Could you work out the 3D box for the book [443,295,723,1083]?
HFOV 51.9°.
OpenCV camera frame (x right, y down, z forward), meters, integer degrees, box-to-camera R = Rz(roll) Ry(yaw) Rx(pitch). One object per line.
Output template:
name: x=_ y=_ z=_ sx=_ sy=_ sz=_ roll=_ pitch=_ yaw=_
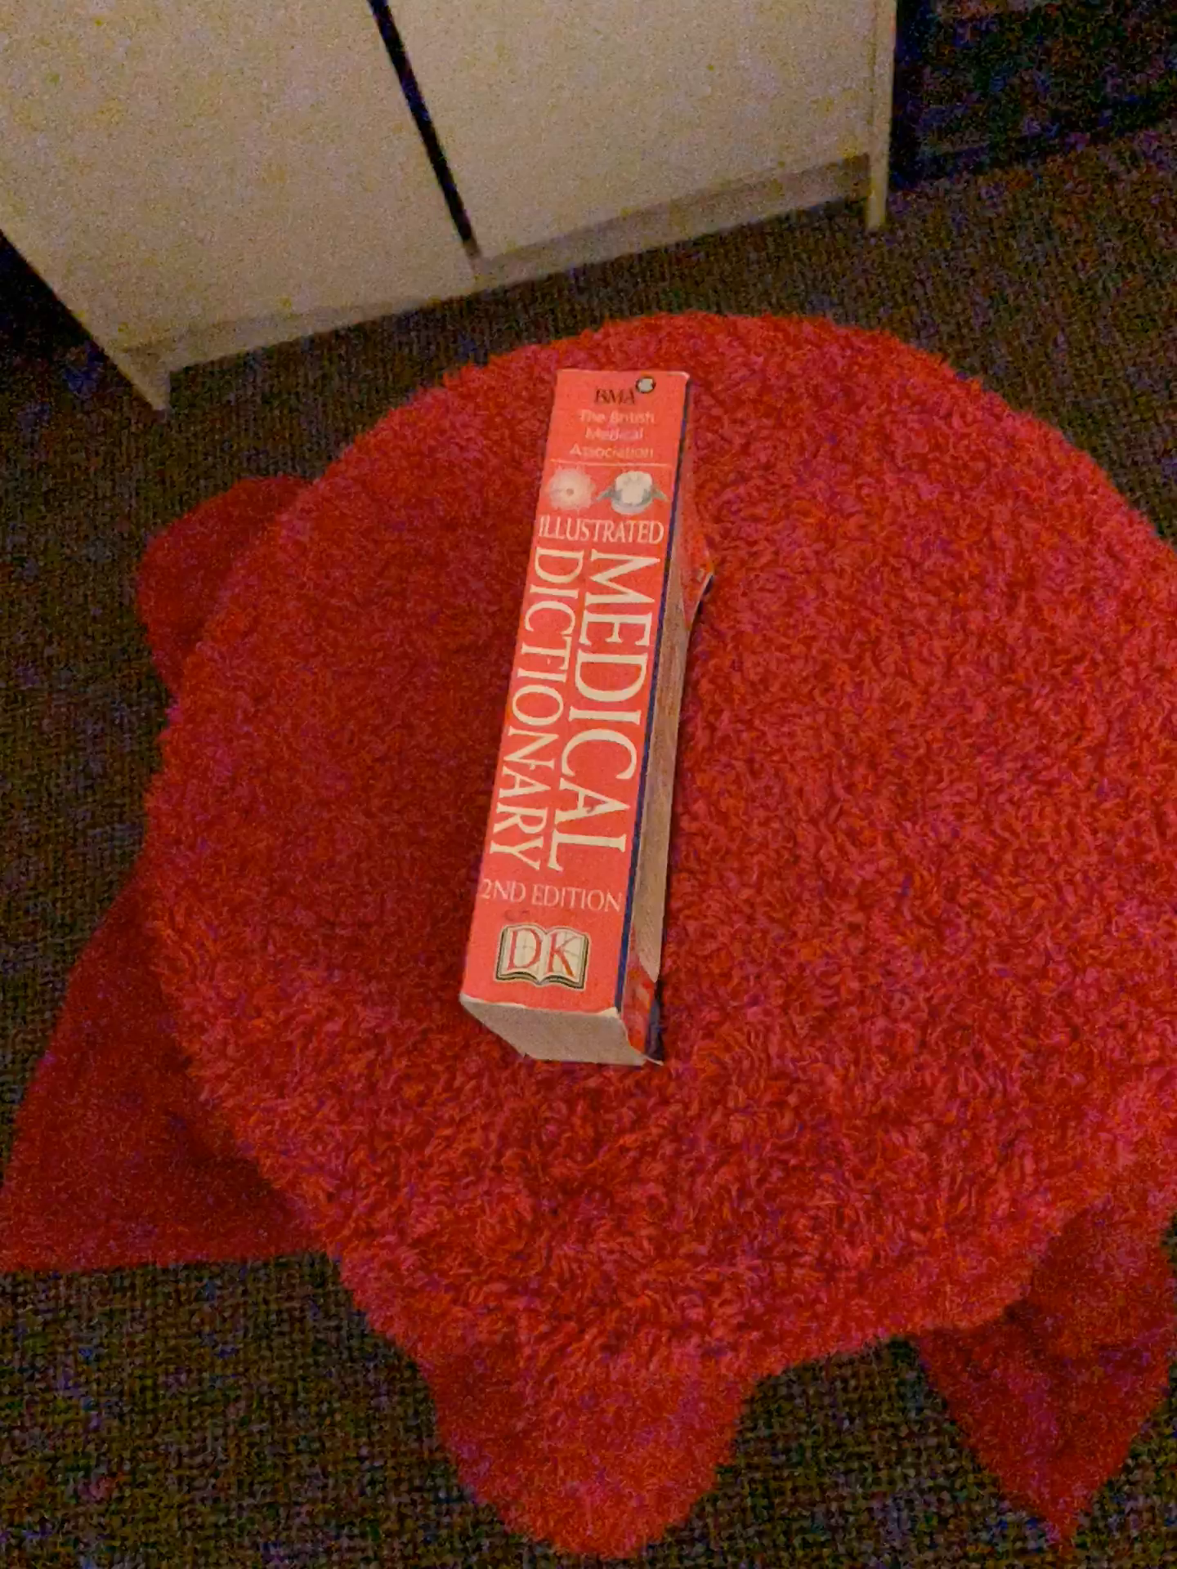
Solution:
book: x=0.009 y=-0.024 z=0.395 sx=0.050 sy=0.130 sz=0.221 roll=5 pitch=71 yaw=8
